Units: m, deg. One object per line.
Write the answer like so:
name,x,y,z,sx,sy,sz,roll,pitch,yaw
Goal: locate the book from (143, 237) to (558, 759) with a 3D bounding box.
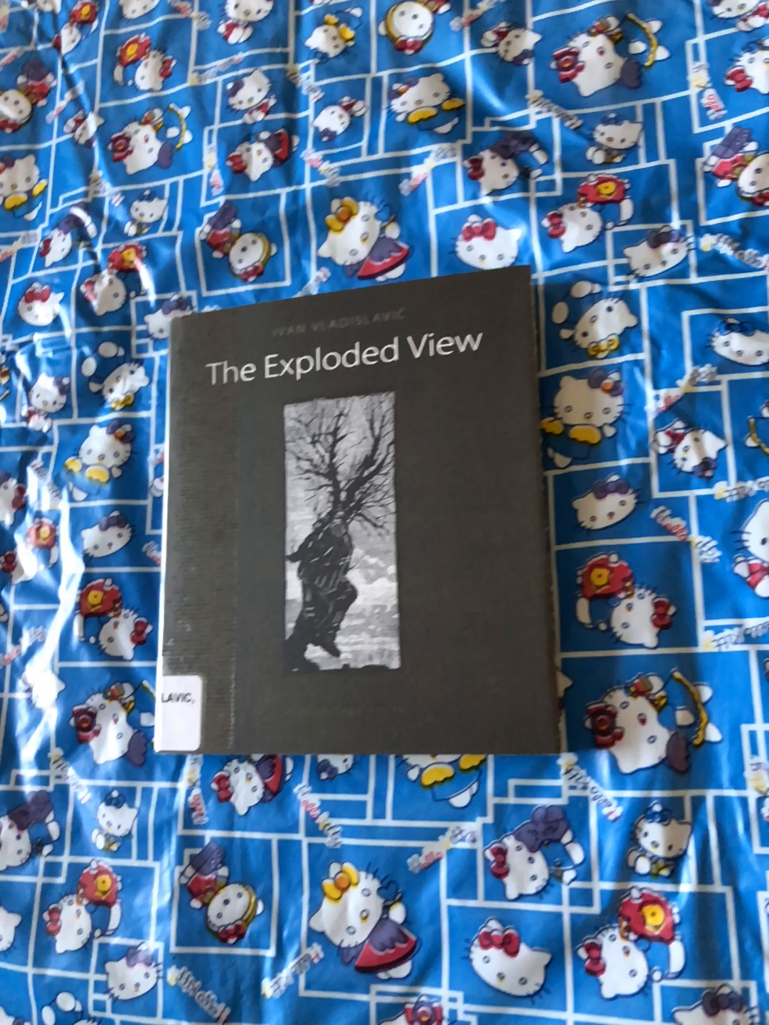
book,-0.016,-0.003,0.302,0.140,0.020,0.170,-4,80,15
